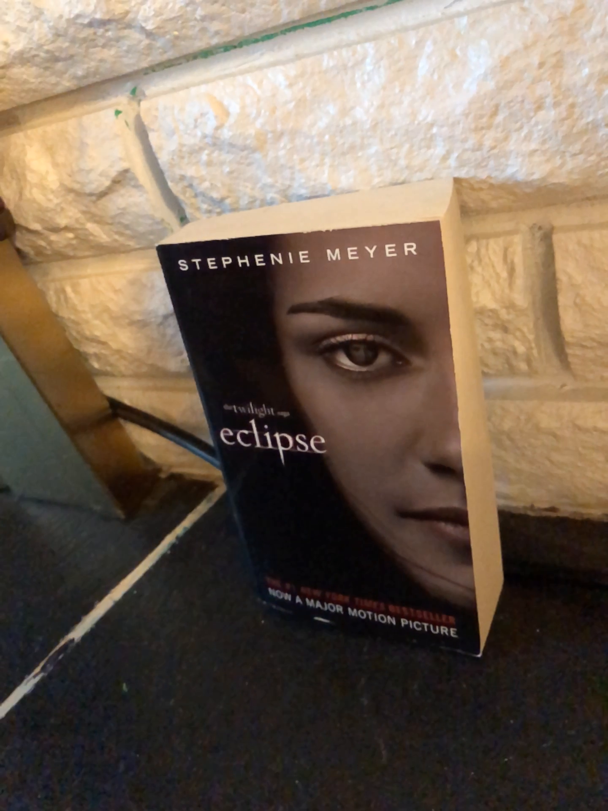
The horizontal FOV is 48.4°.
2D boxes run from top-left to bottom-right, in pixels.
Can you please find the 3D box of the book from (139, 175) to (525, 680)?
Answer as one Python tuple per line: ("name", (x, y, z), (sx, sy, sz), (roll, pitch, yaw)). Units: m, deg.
("book", (0.018, 0.014, 0.264), (0.106, 0.181, 0.042), (4, 33, 34))
